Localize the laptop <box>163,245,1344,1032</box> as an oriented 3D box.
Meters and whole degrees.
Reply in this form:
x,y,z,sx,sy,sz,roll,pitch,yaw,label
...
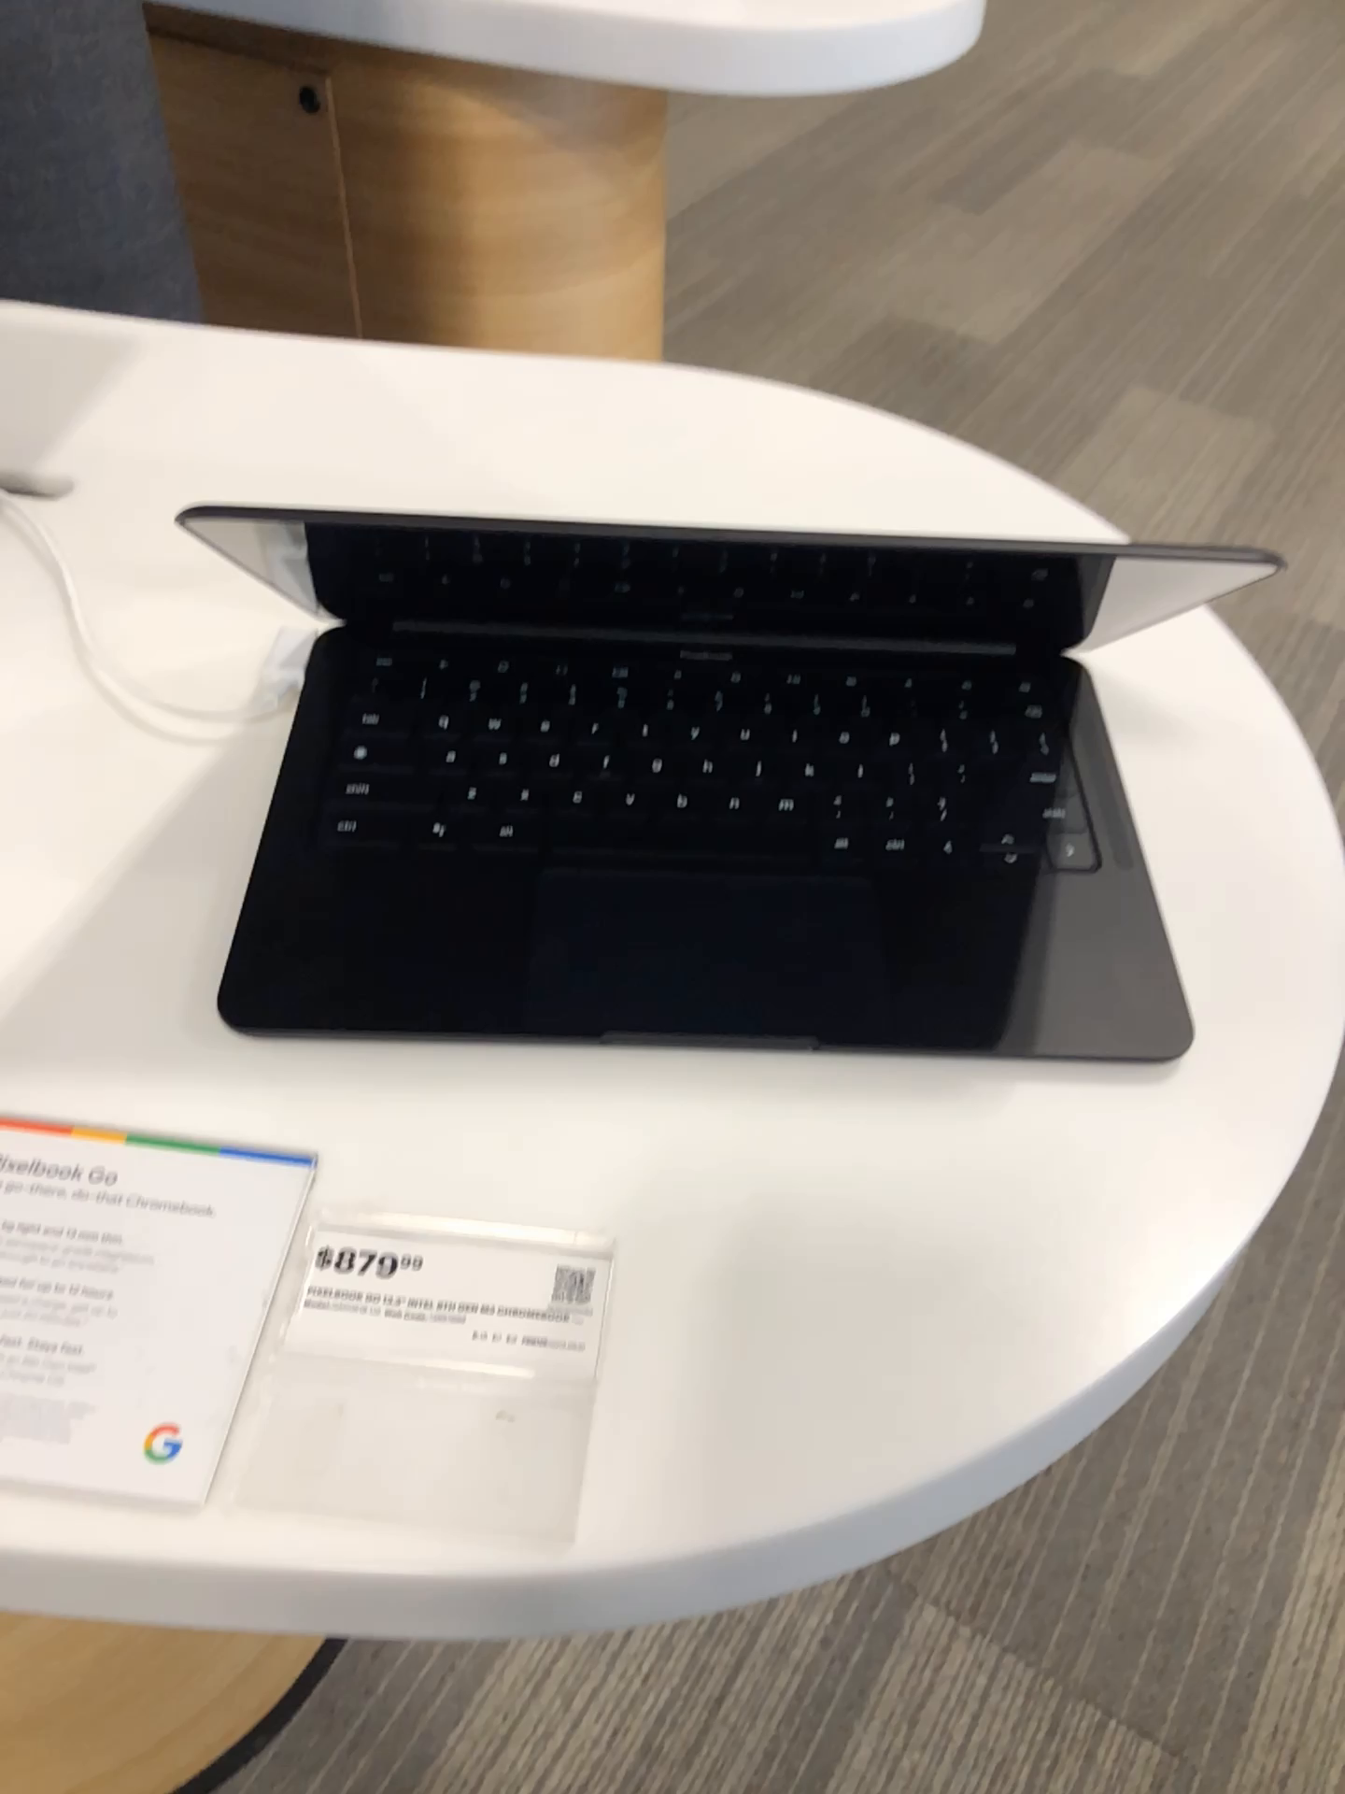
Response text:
x,y,z,sx,sy,sz,roll,pitch,yaw,label
0.024,-0.081,0.464,0.278,0.147,0.192,2,46,-4,laptop
